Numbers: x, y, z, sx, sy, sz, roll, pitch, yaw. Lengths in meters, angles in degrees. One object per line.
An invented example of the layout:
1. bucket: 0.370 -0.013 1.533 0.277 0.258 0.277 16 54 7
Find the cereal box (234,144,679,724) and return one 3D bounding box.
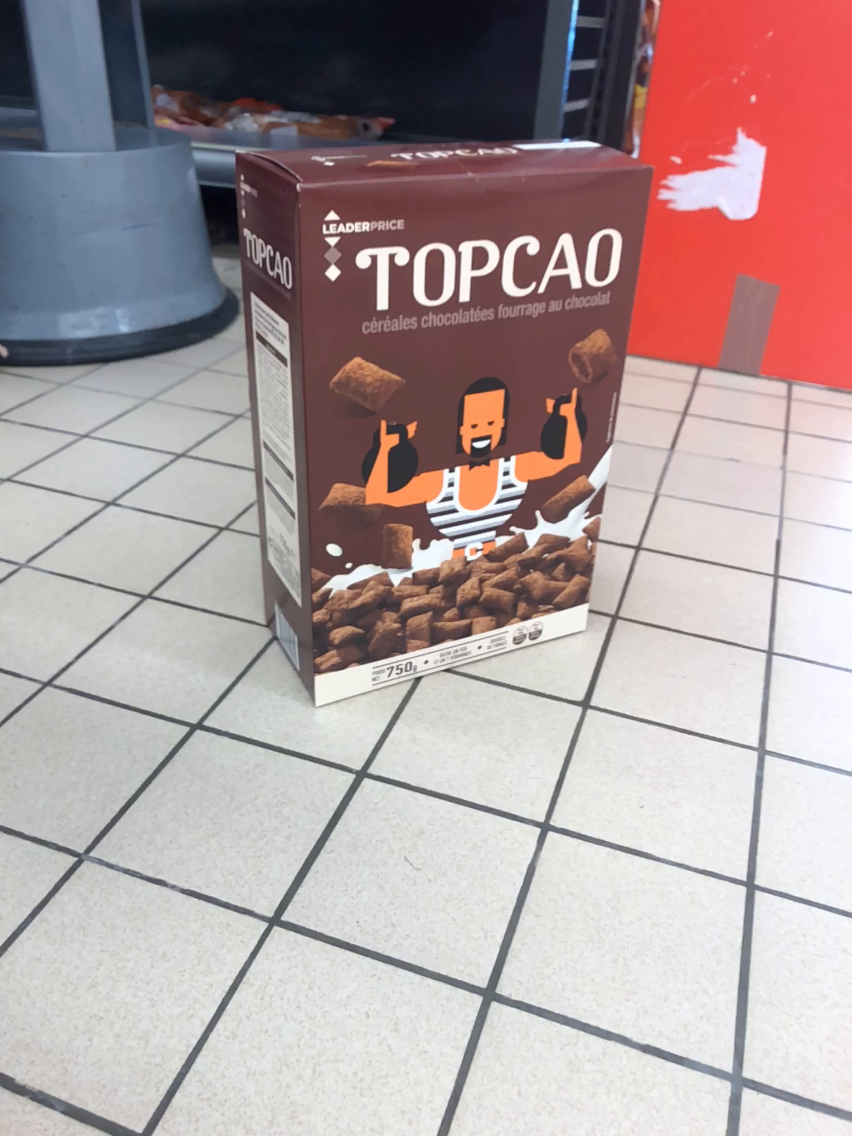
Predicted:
1. cereal box: 0.013 -0.079 0.544 0.201 0.288 0.100 -13 33 -23
